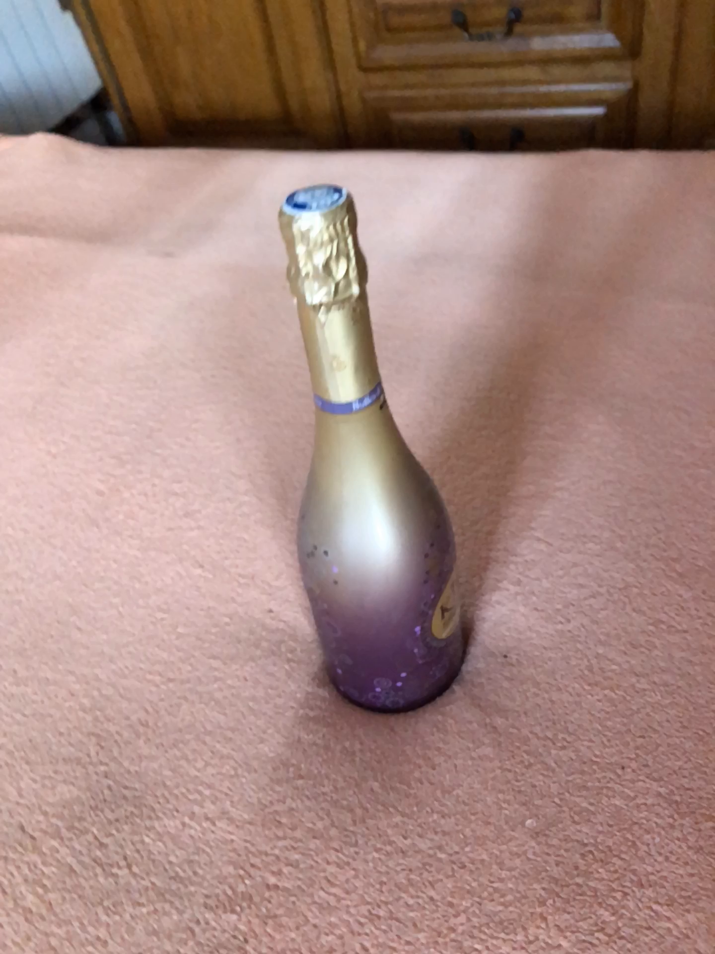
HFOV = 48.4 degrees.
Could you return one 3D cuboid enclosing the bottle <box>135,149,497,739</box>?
[{"bbox_3d":[0.004,0.005,0.408,0.090,0.308,0.091,-8,43,7],"label":"bottle"}]
